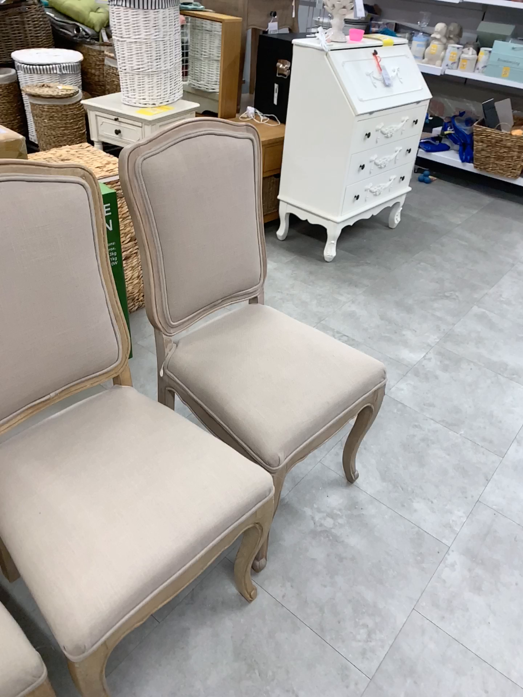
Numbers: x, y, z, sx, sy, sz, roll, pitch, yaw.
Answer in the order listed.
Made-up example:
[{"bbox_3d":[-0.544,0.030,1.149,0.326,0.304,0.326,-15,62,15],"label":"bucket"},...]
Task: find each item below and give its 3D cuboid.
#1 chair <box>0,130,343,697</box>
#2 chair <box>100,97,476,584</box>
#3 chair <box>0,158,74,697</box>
[{"bbox_3d":[-0.302,0.196,1.038,0.548,0.972,0.509,35,47,31],"label":"chair"},{"bbox_3d":[0.017,-0.012,1.350,0.547,0.972,0.509,32,45,27],"label":"chair"},{"bbox_3d":[-0.692,0.358,0.729,0.548,0.972,0.509,35,47,31],"label":"chair"}]
